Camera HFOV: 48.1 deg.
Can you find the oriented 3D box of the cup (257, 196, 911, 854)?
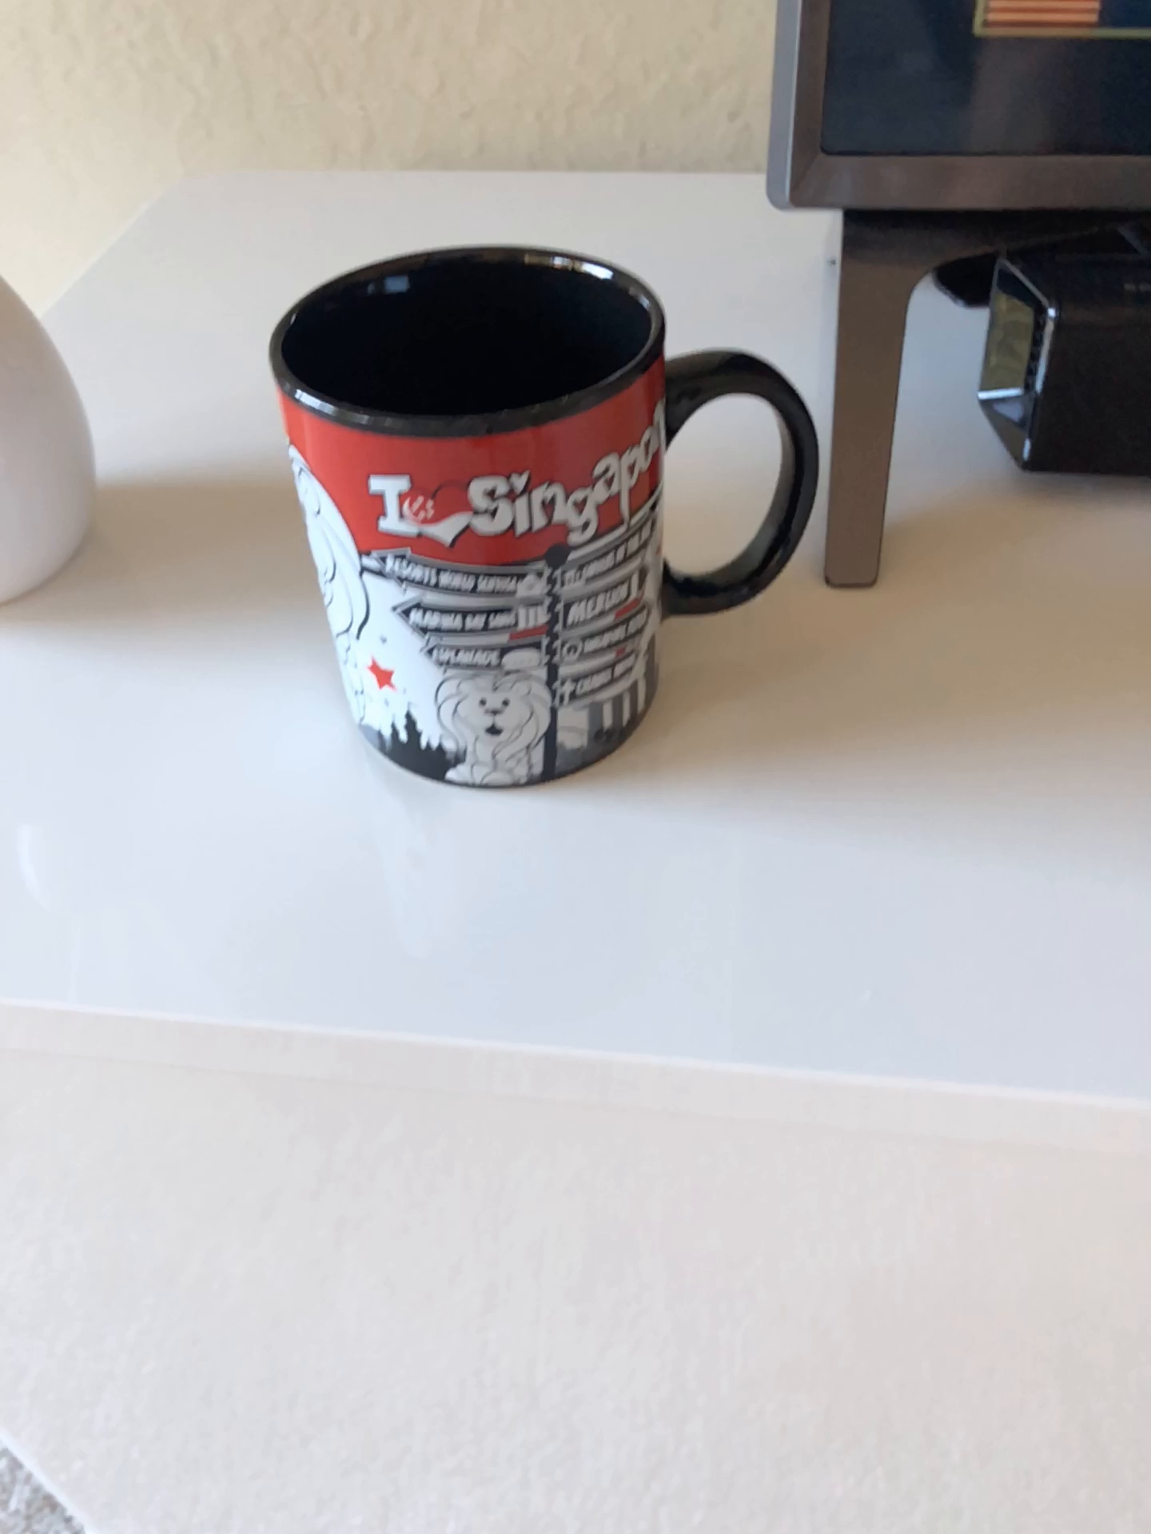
[{"bbox_3d":[-0.001,-0.058,0.305,0.120,0.110,0.080,-12,44,-9],"label":"cup"}]
